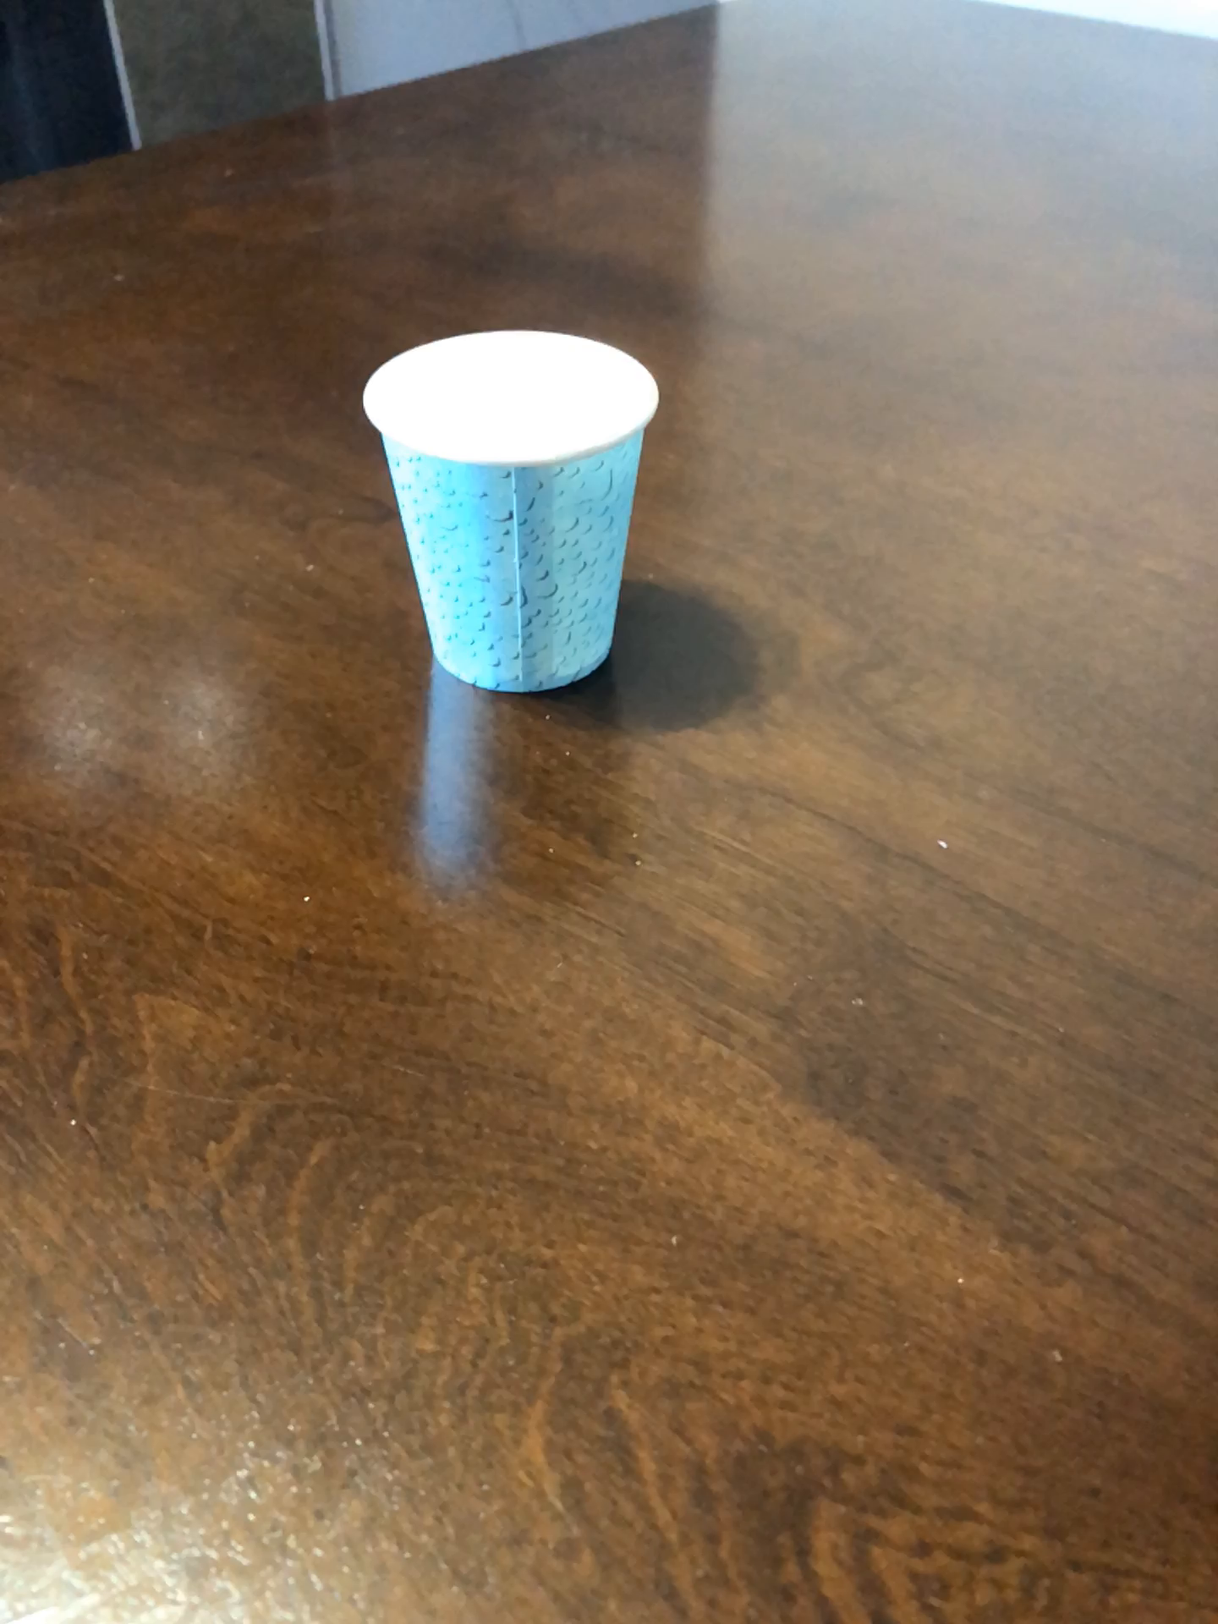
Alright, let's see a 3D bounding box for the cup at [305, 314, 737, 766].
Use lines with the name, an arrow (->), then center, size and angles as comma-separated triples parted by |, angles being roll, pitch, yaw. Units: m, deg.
cup -> -0.017, -0.059, 0.287 | 0.060, 0.060, 0.060 | 0, 40, 0
